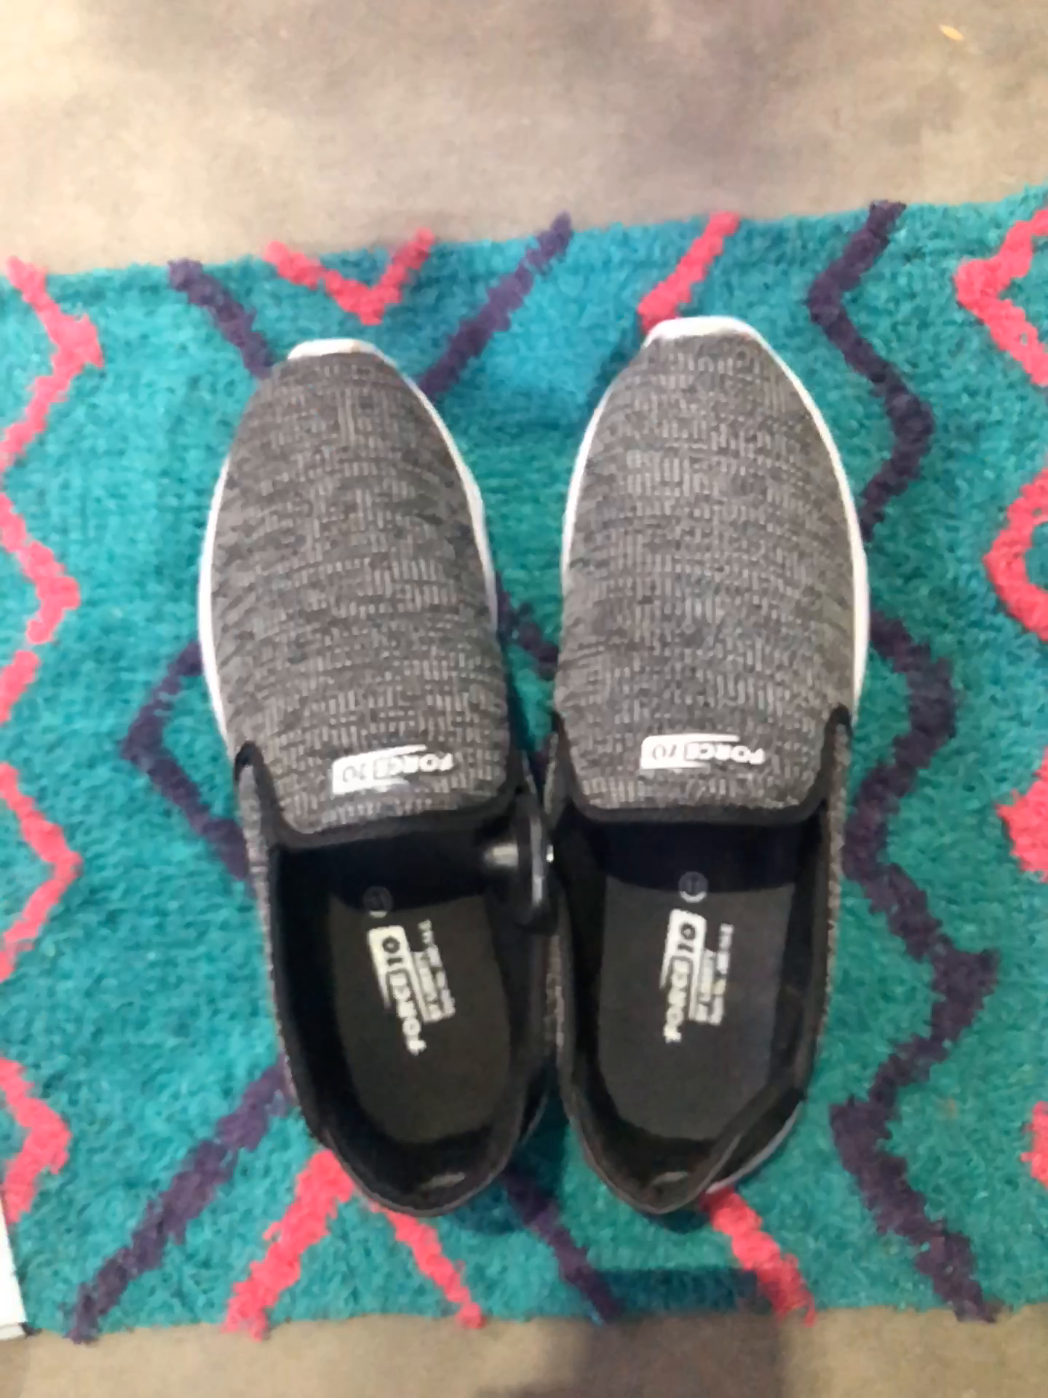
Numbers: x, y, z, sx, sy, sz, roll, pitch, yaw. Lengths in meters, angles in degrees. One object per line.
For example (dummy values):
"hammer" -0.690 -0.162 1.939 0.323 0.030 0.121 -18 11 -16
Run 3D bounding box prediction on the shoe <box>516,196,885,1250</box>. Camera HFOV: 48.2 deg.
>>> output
"shoe" 0.059 0.004 0.420 0.110 0.100 0.330 0 84 5

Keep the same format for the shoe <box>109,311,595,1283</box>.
"shoe" -0.057 0.031 0.431 0.110 0.100 0.300 -11 83 4
